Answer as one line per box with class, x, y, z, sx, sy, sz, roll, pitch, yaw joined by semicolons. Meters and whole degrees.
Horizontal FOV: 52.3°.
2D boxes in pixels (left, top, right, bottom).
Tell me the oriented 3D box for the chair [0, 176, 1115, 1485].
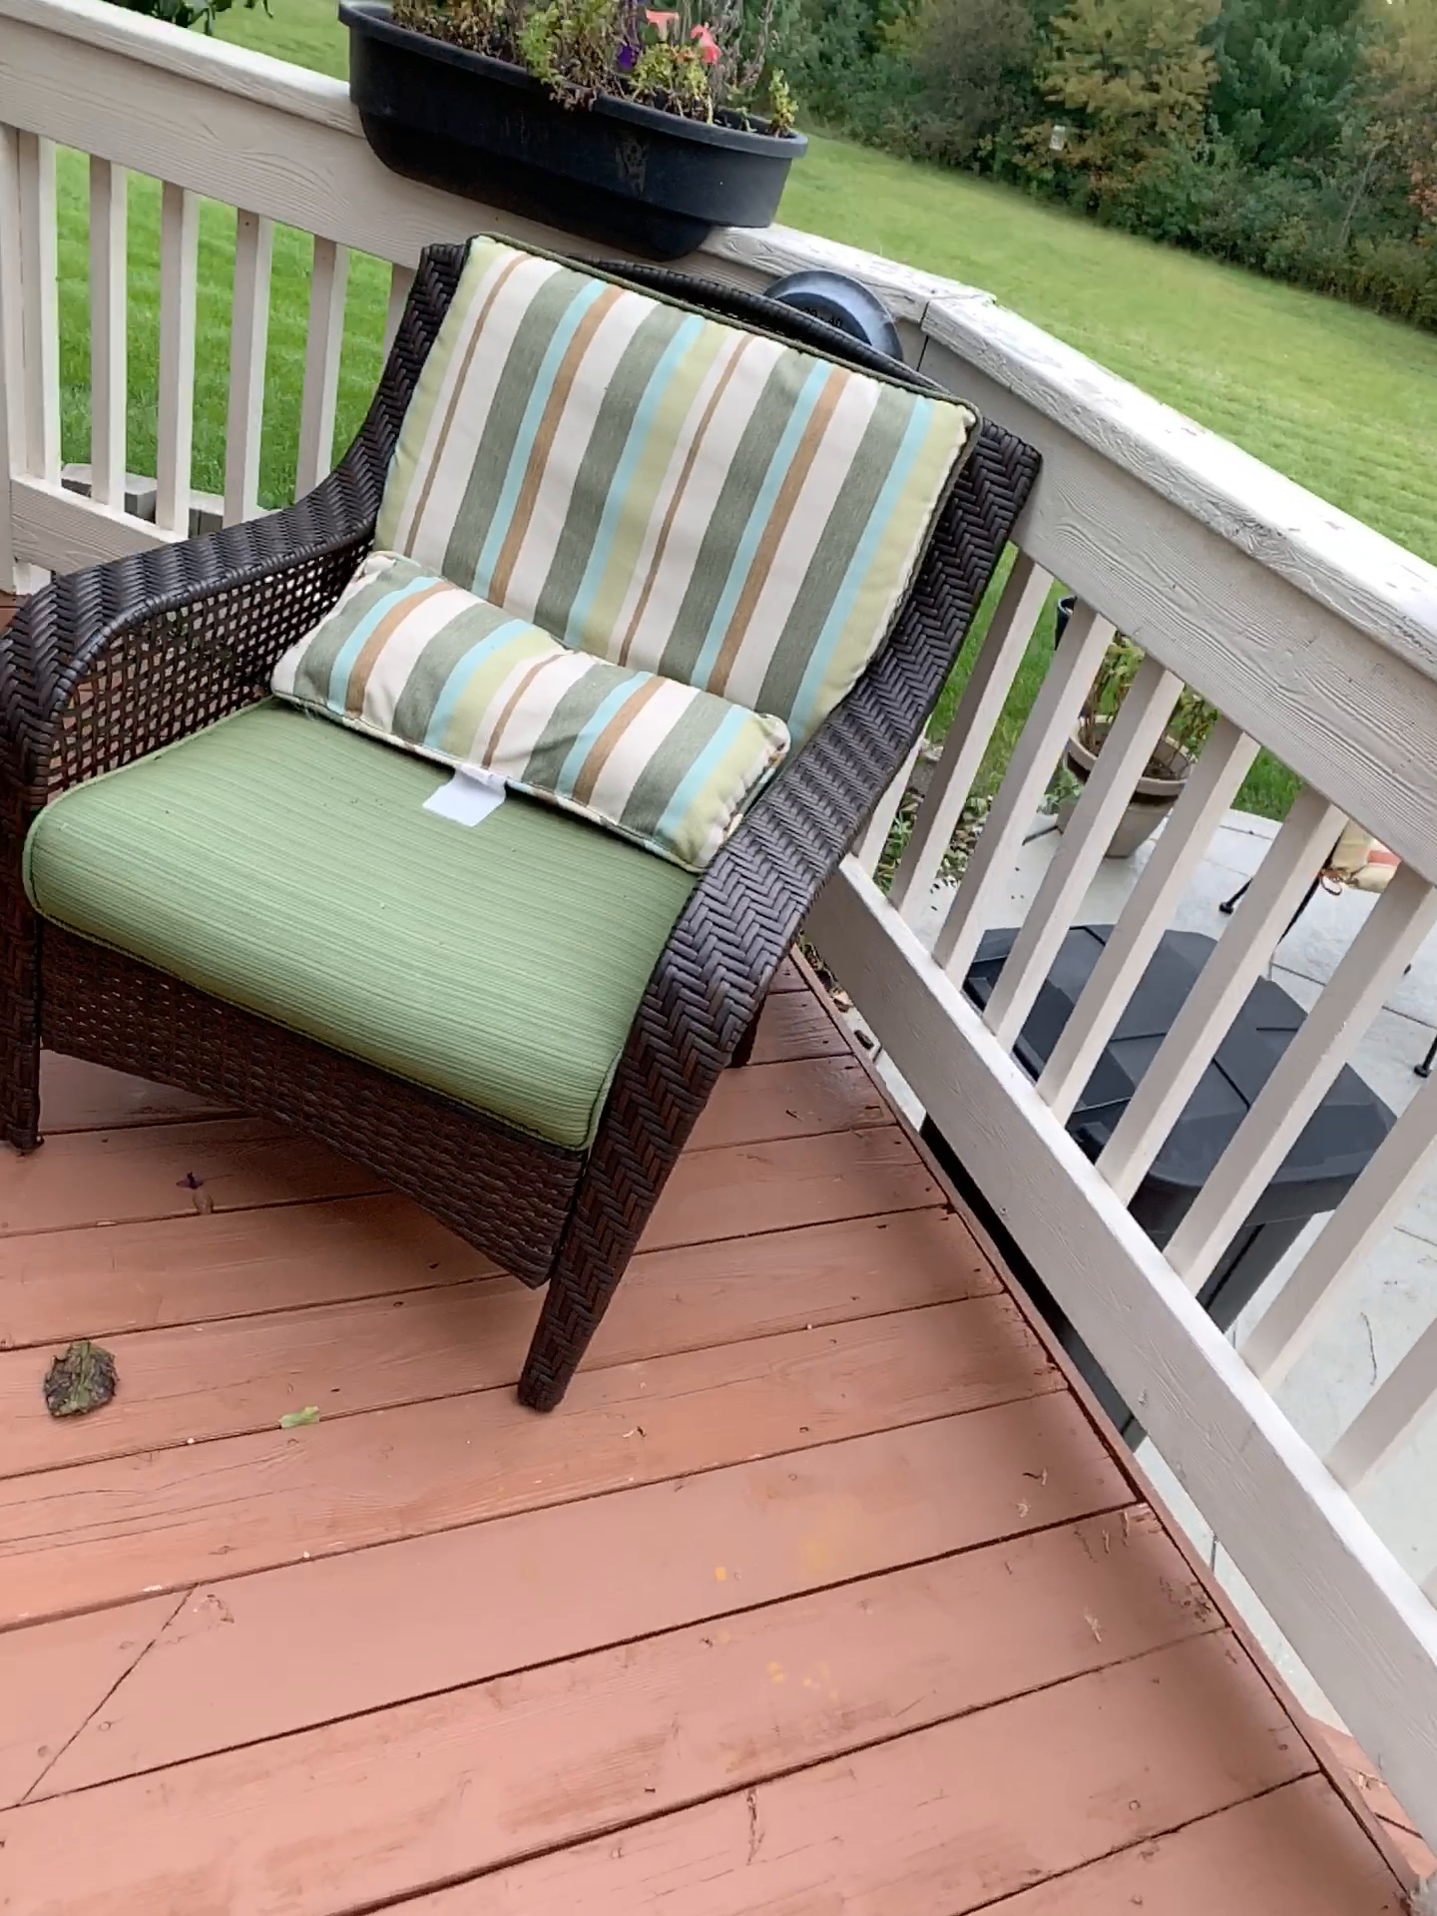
chair;-0.195;-0.221;1.492;0.810;0.824;0.864;23;34;11
